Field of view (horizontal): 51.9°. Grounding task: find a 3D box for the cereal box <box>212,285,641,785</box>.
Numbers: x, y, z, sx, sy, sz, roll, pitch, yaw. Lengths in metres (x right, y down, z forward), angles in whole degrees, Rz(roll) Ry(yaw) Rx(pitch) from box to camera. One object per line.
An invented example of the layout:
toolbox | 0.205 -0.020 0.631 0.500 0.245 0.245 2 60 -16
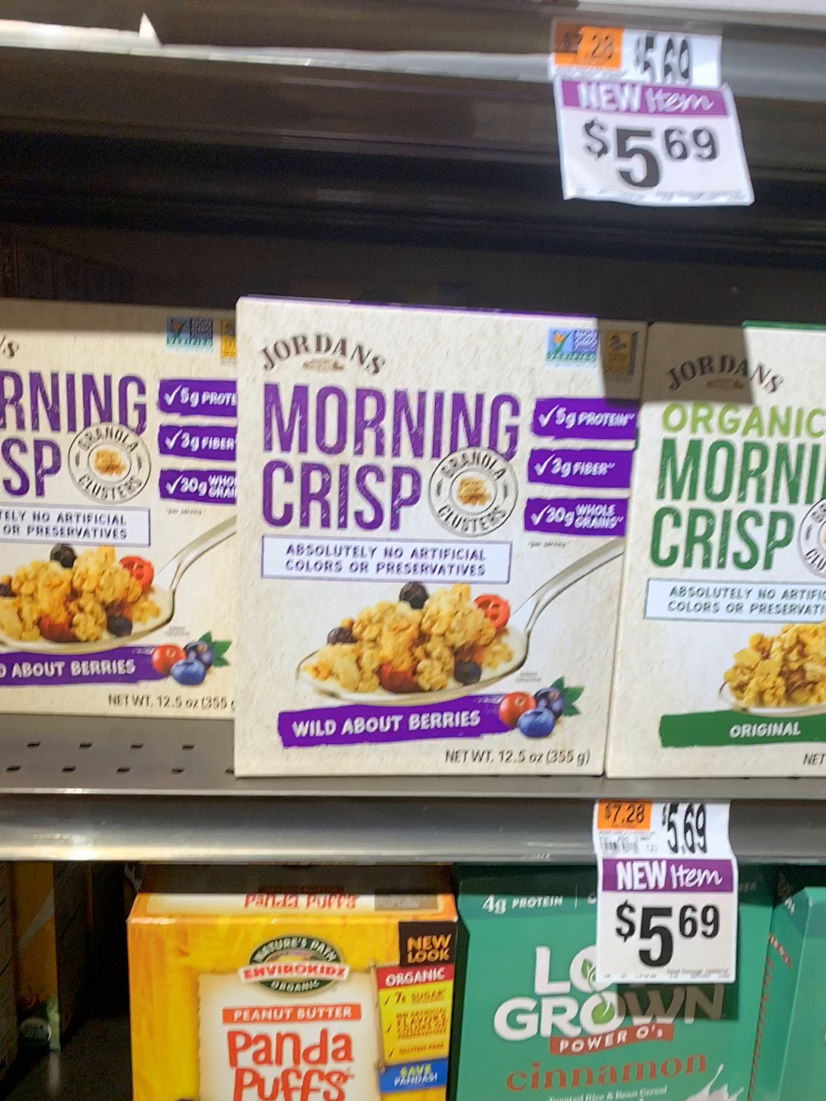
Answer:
cereal box | 0.001 -0.005 0.404 0.180 0.219 0.060 1 12 -6
